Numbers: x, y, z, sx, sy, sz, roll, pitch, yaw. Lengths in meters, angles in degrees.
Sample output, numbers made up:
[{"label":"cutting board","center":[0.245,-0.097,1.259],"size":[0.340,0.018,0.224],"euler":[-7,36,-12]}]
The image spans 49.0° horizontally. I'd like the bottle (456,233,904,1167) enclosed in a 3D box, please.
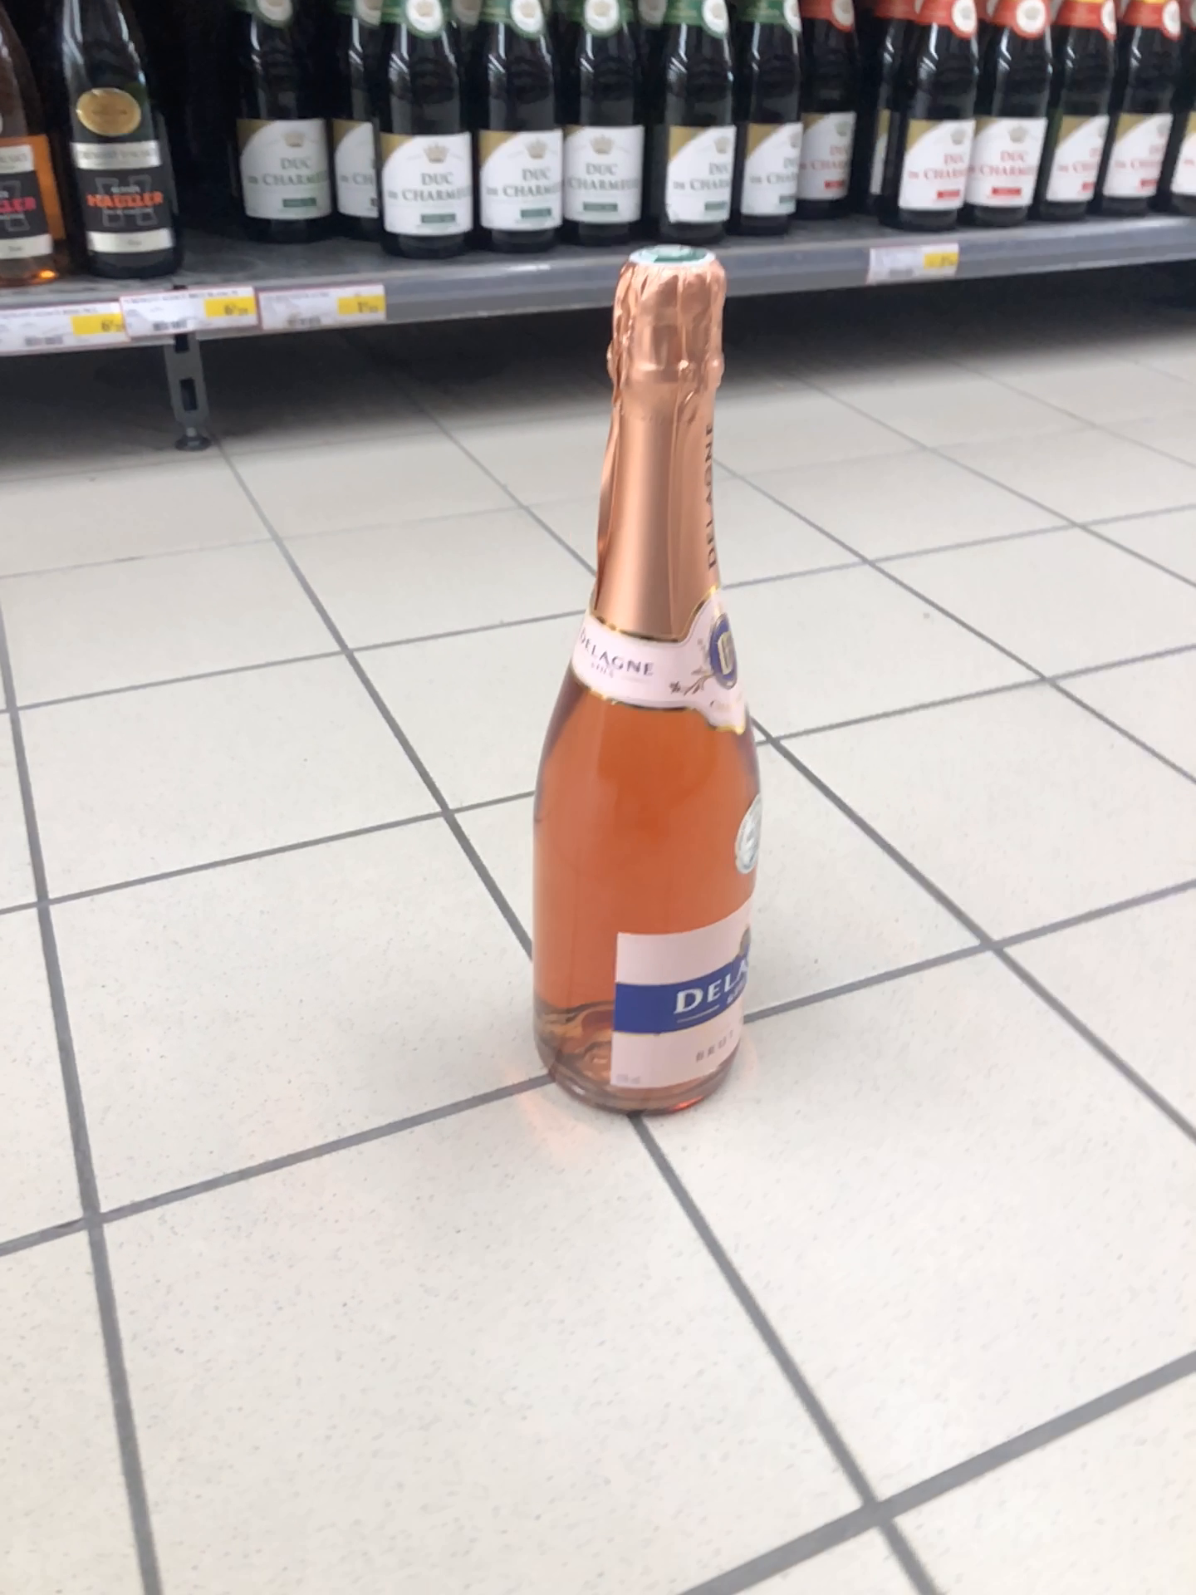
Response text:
[{"label":"bottle","center":[0.023,-0.026,0.449],"size":[0.090,0.288,0.101],"euler":[19,36,26]}]
